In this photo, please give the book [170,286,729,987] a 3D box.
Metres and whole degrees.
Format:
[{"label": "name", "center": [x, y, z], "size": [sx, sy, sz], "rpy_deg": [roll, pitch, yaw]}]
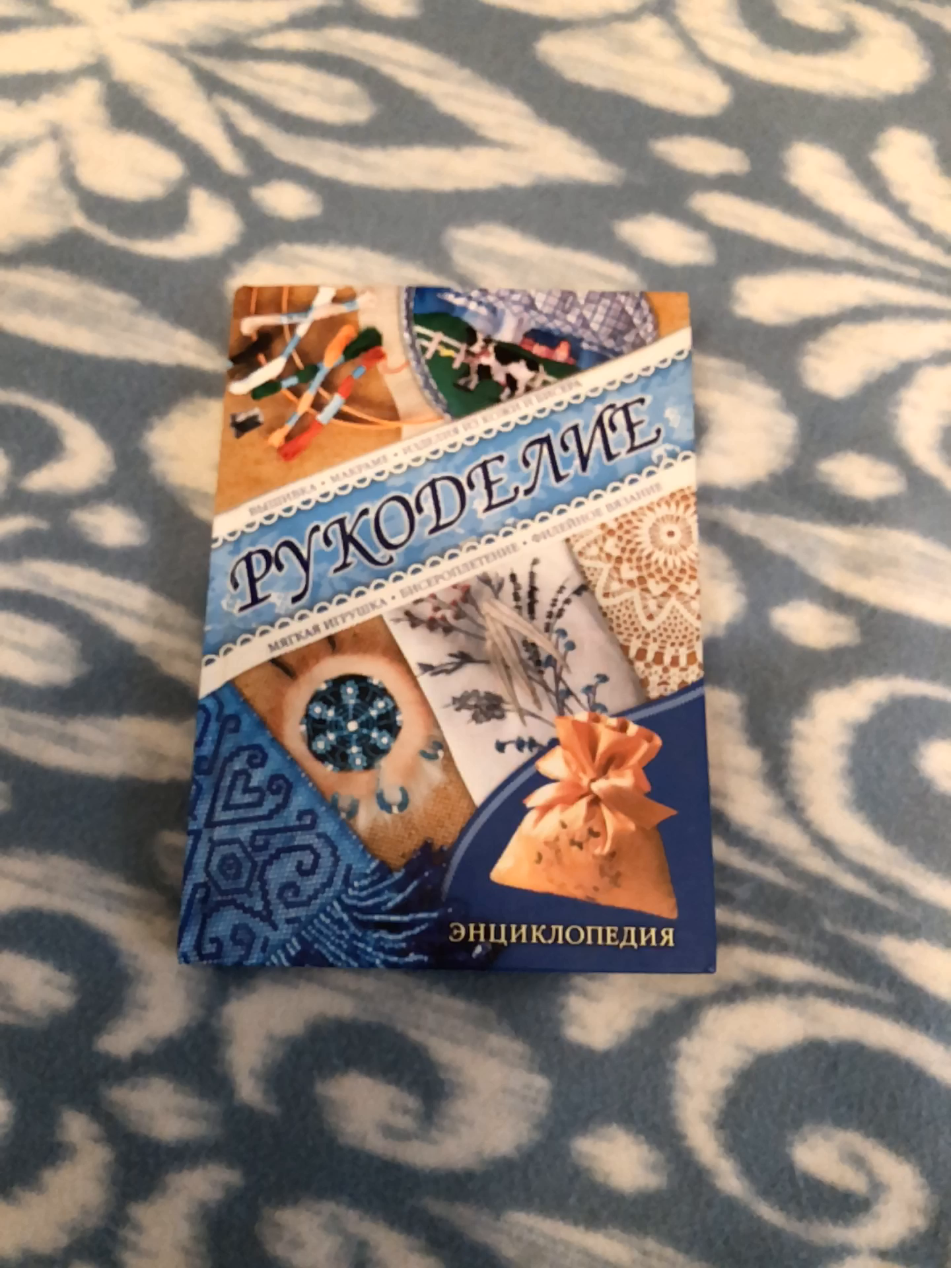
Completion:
[{"label": "book", "center": [-0.006, -0.007, 0.360], "size": [0.168, 0.020, 0.237], "rpy_deg": [1, 75, 0]}]
